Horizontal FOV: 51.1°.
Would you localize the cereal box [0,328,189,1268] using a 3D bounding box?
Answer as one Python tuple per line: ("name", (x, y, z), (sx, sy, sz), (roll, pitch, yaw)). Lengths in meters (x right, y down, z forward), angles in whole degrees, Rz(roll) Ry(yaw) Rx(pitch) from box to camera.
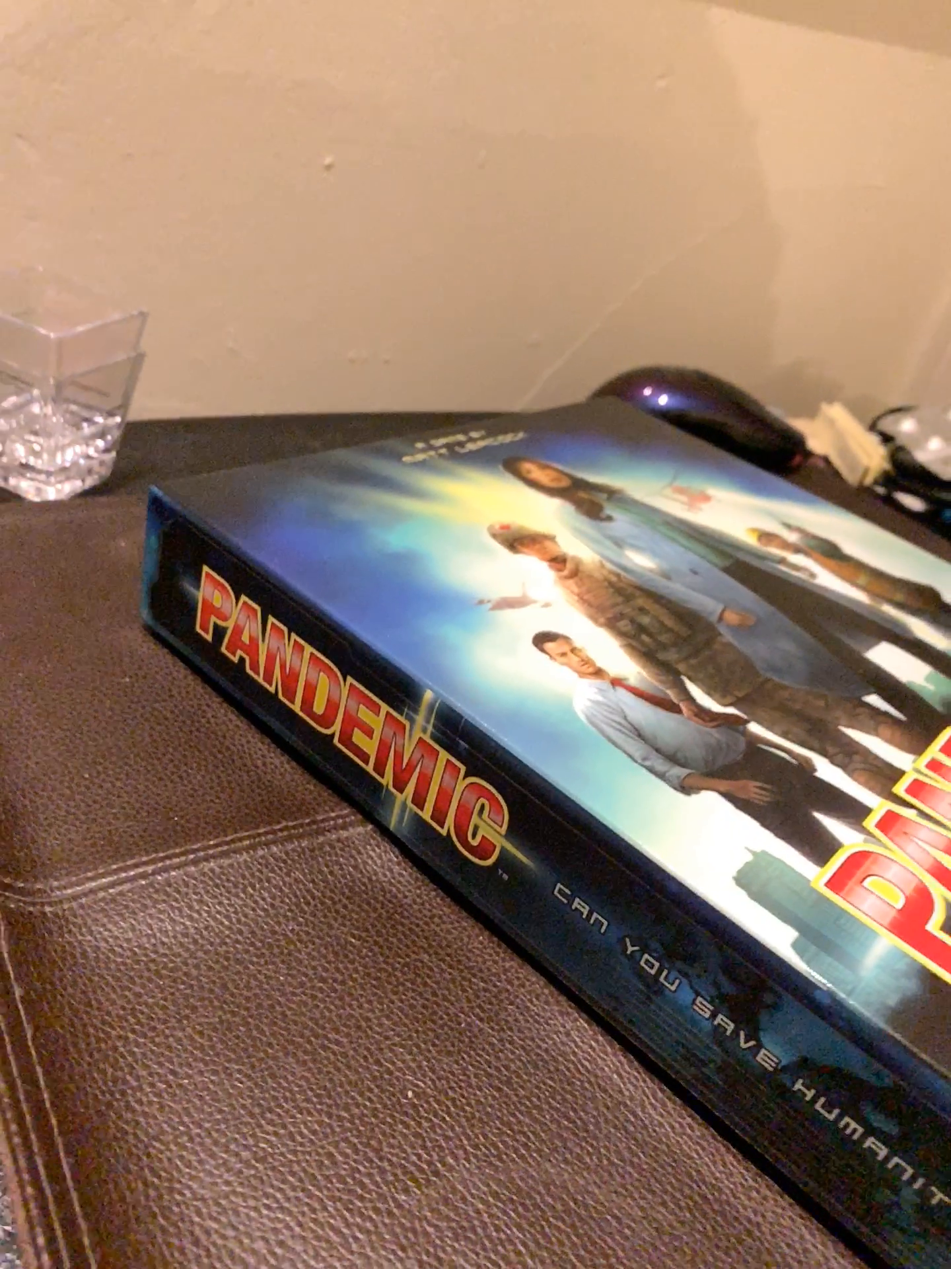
("cereal box", (-0.606, 0.369, 0.798), (0.510, 0.994, 0.473), (17, 32, 3))
